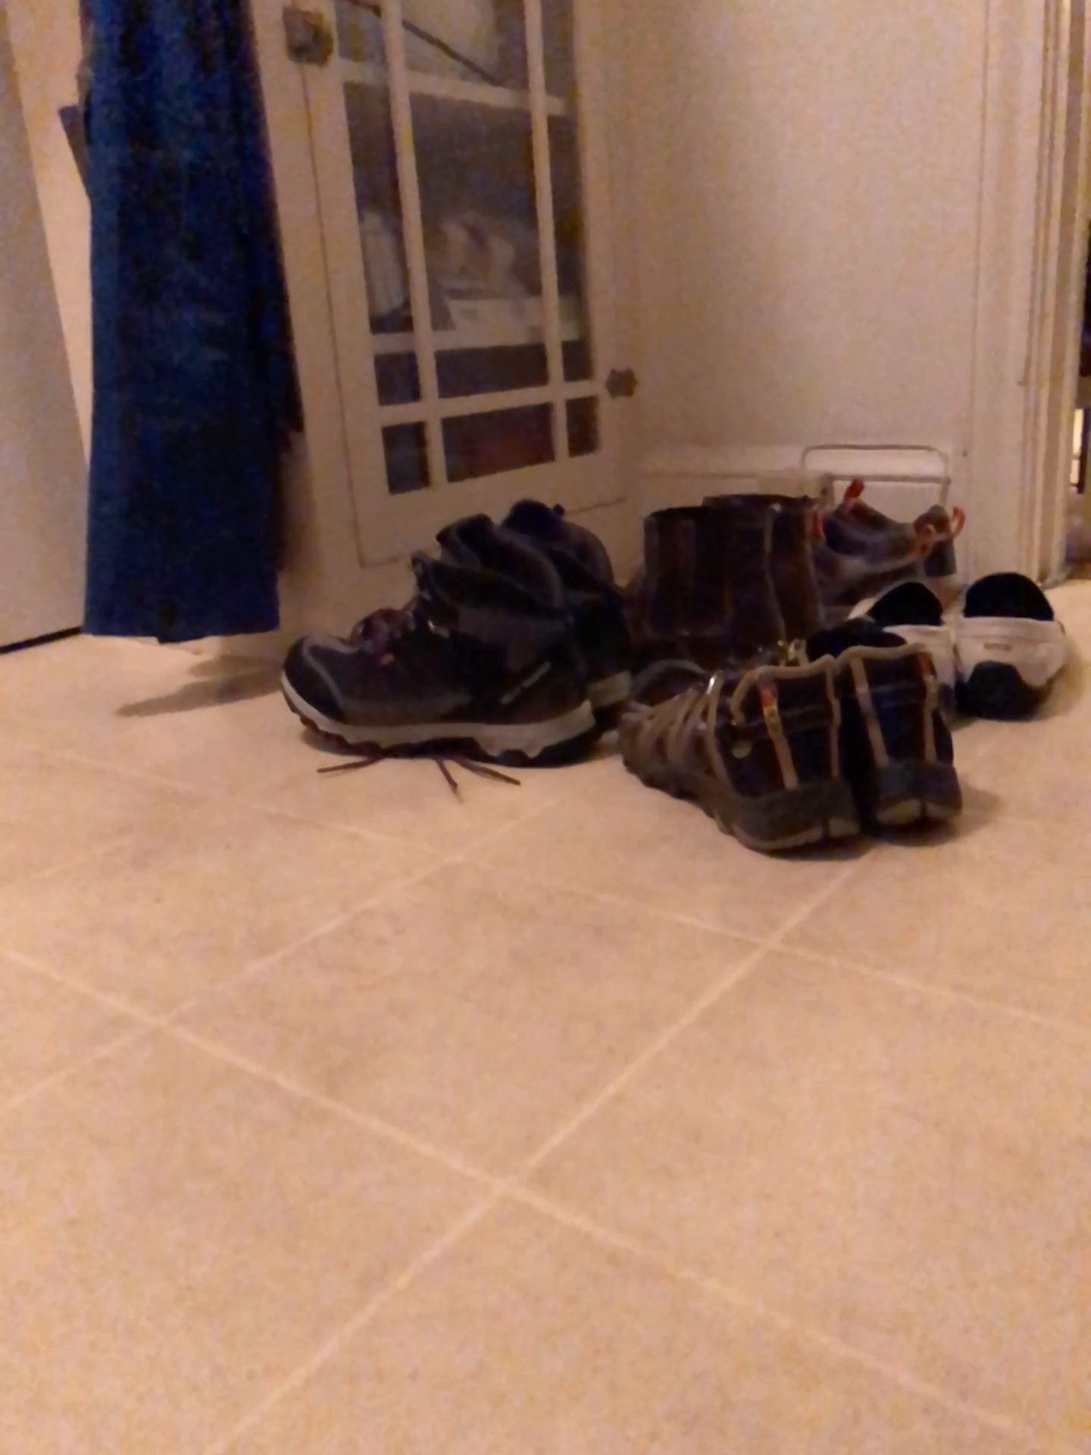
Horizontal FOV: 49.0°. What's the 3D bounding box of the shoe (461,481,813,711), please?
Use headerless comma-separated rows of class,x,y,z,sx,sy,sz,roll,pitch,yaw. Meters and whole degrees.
shoe,0.089,-0.138,1.182,0.323,0.192,0.111,6,20,30

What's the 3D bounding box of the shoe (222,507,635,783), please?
shoe,-0.099,-0.080,1.006,0.323,0.192,0.111,6,19,29

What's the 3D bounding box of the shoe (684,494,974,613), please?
shoe,0.332,-0.212,1.423,0.313,0.113,0.111,8,20,33

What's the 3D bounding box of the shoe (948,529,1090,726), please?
shoe,0.443,-0.104,1.109,0.110,0.113,0.304,3,18,21

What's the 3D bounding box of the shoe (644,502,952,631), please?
shoe,0.276,-0.186,1.332,0.313,0.113,0.111,8,20,33

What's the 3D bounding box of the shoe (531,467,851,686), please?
shoe,0.148,-0.170,1.265,0.323,0.192,0.110,11,22,40

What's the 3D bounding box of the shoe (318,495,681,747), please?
shoe,-0.046,-0.111,1.114,0.323,0.192,0.110,8,21,35

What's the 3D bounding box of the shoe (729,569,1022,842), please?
shoe,0.235,-0.031,0.913,0.110,0.123,0.294,-6,17,-6

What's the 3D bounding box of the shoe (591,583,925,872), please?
shoe,0.140,-0.016,0.875,0.110,0.123,0.294,-9,18,-17

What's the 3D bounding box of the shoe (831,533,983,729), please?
shoe,0.326,-0.099,1.114,0.110,0.113,0.304,0,18,12
